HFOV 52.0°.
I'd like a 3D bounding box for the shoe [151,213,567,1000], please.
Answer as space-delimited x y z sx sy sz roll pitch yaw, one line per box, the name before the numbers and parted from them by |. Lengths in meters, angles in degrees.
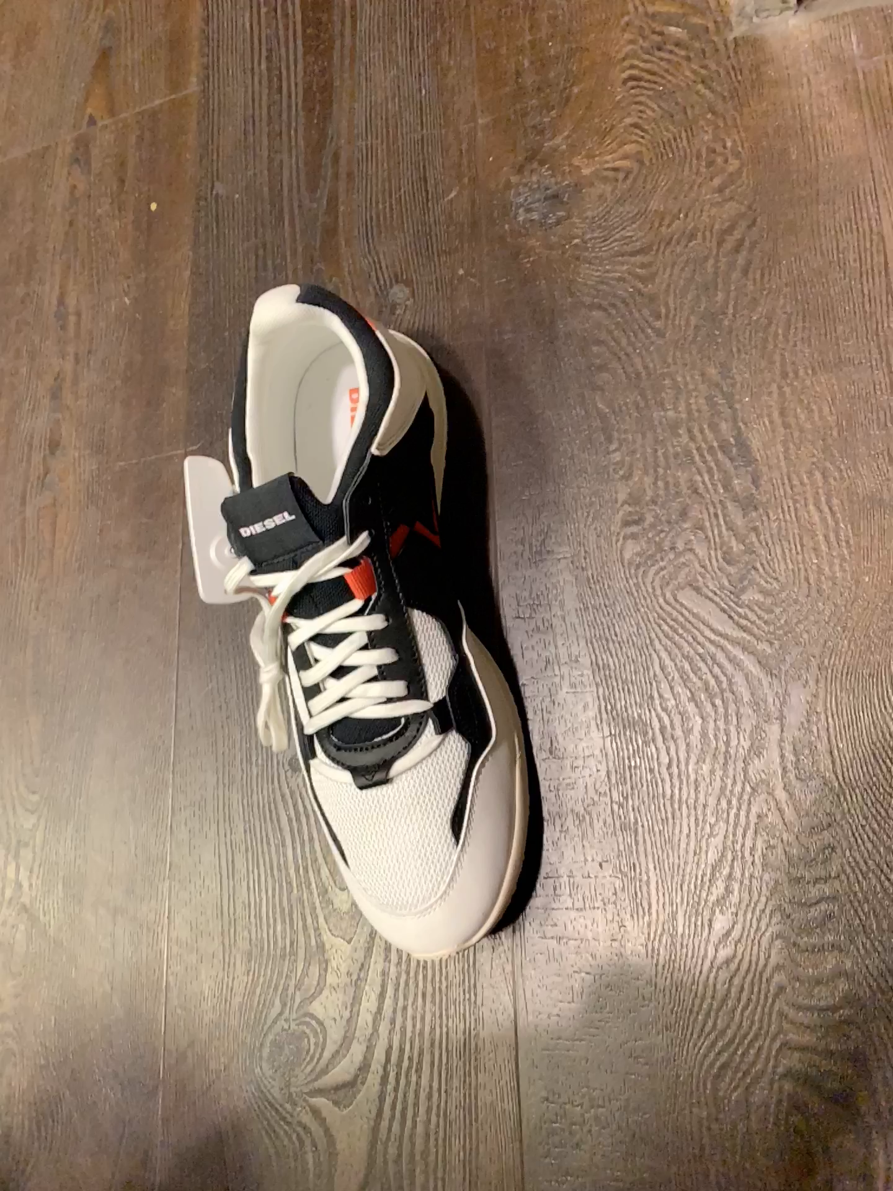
shoe | -0.042 0.005 0.413 0.110 0.110 0.301 -15 73 19
